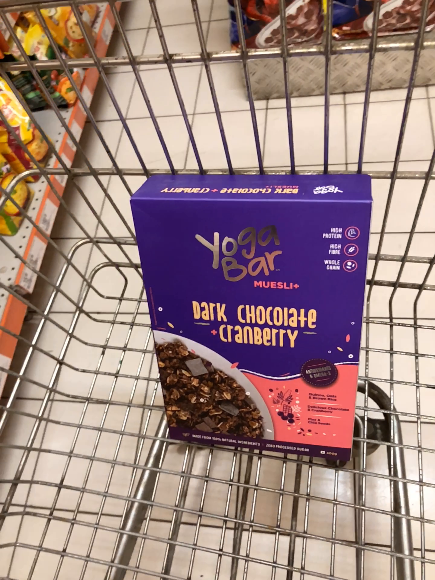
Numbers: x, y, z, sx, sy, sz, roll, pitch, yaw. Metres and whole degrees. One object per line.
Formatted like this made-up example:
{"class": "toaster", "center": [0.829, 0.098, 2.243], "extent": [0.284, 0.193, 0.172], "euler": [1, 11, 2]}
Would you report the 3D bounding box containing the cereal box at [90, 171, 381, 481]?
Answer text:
{"class": "cereal box", "center": [0.019, 0.030, 0.372], "extent": [0.180, 0.229, 0.060], "euler": [3, 29, 14]}
